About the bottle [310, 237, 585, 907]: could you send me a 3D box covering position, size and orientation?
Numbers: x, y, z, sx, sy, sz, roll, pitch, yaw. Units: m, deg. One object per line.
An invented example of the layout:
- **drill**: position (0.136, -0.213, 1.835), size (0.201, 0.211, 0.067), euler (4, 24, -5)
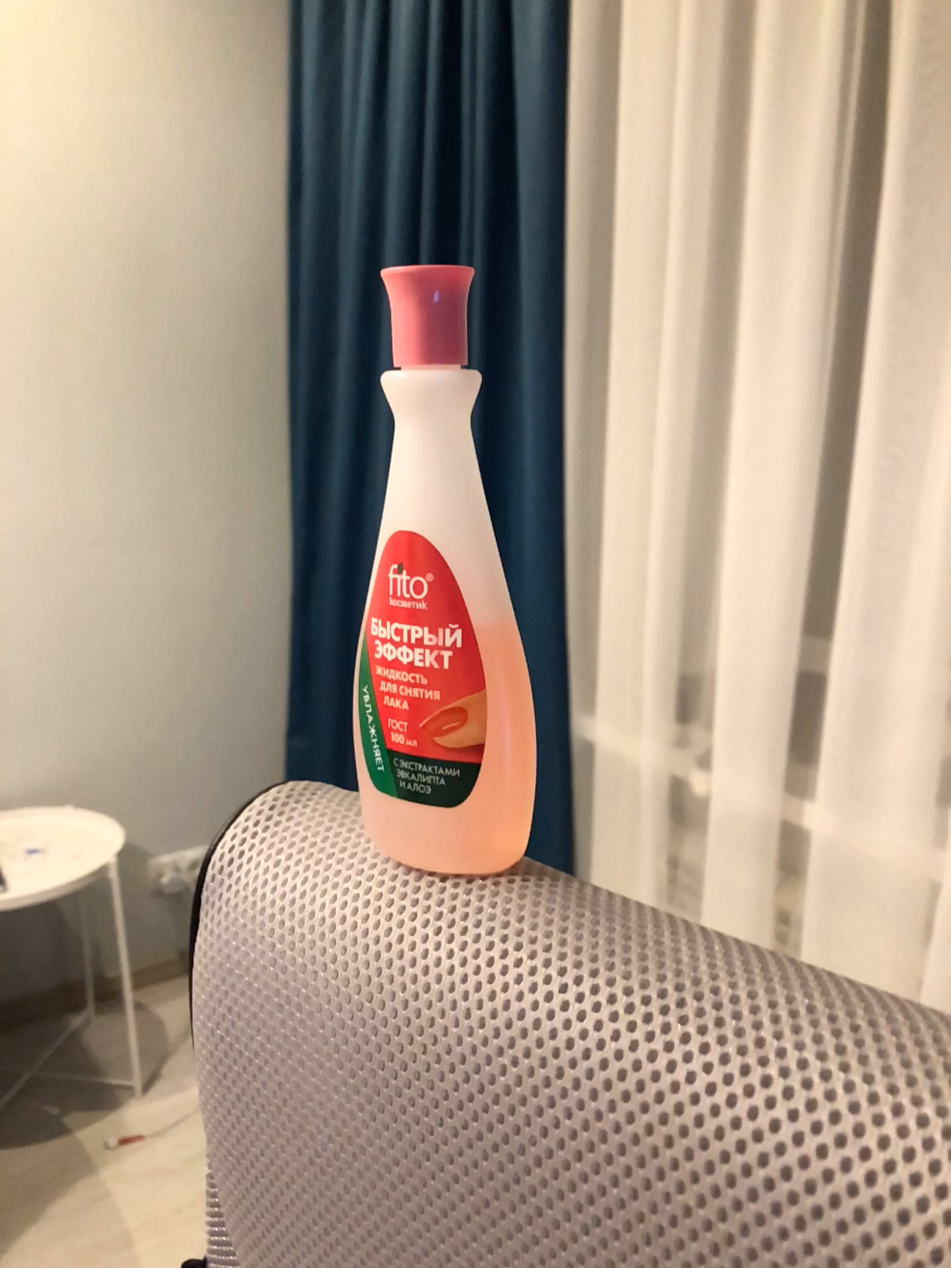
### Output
- **bottle**: position (-0.006, -0.016, 0.278), size (0.056, 0.158, 0.039), euler (7, 13, 34)
